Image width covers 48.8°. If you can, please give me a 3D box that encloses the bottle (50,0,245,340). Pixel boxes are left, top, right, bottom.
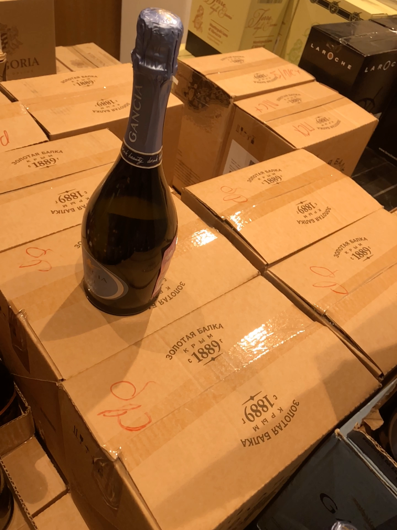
[{"bbox_3d":[-0.061,-0.071,0.405,0.090,0.298,0.101,-28,59,-34],"label":"bottle"}]
